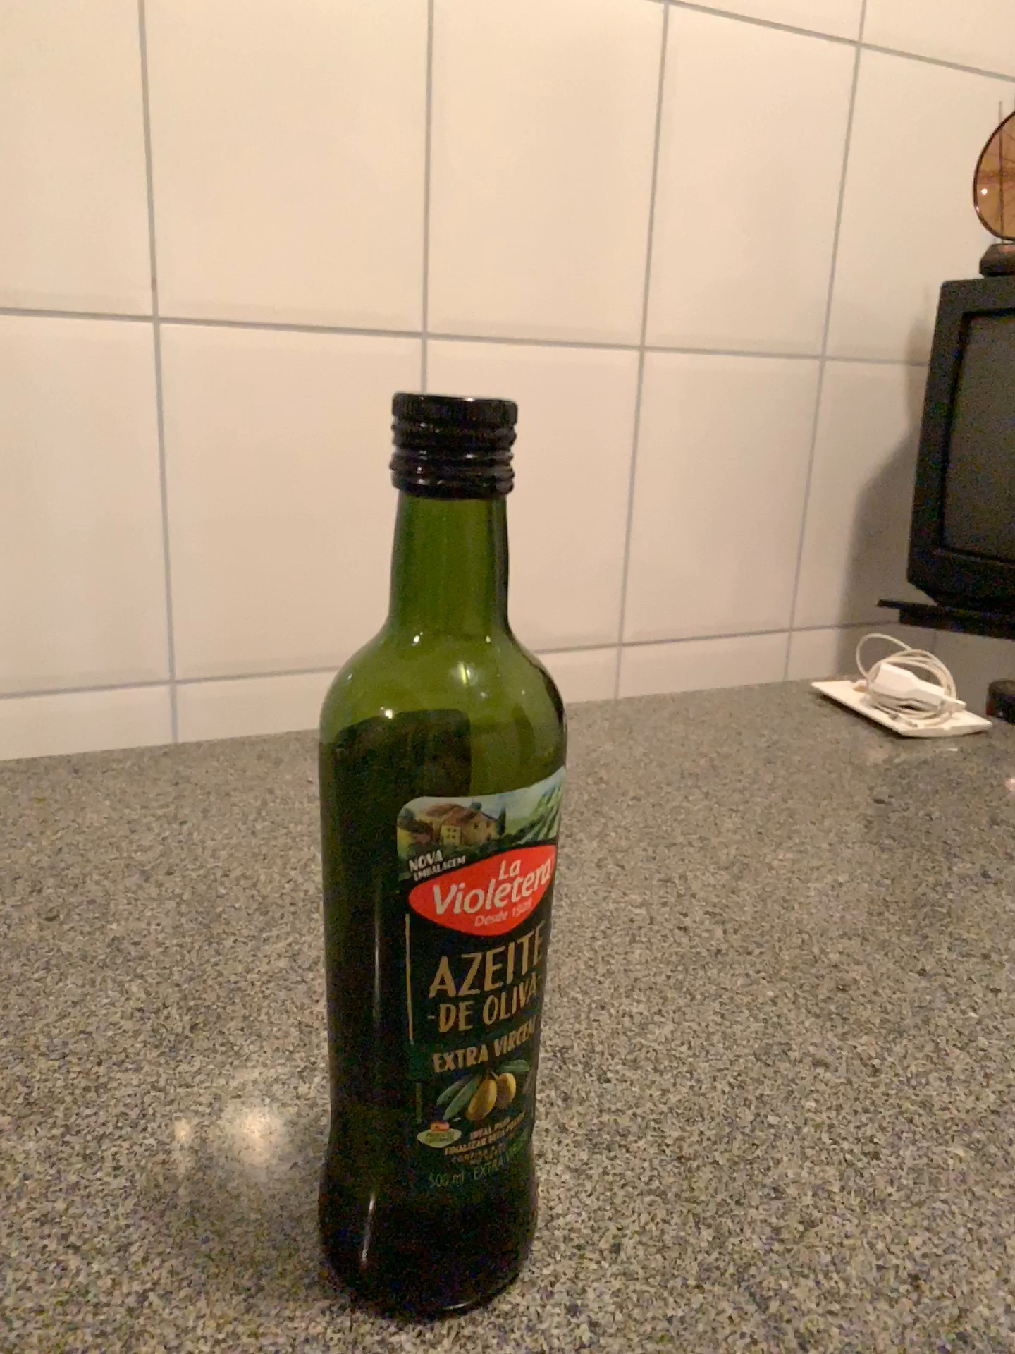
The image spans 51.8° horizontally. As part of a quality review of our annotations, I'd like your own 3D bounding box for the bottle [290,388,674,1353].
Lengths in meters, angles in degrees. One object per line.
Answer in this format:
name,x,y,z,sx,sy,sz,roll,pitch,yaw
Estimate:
bottle,-0.013,0.049,0.279,0.070,0.239,0.060,-7,19,-32
